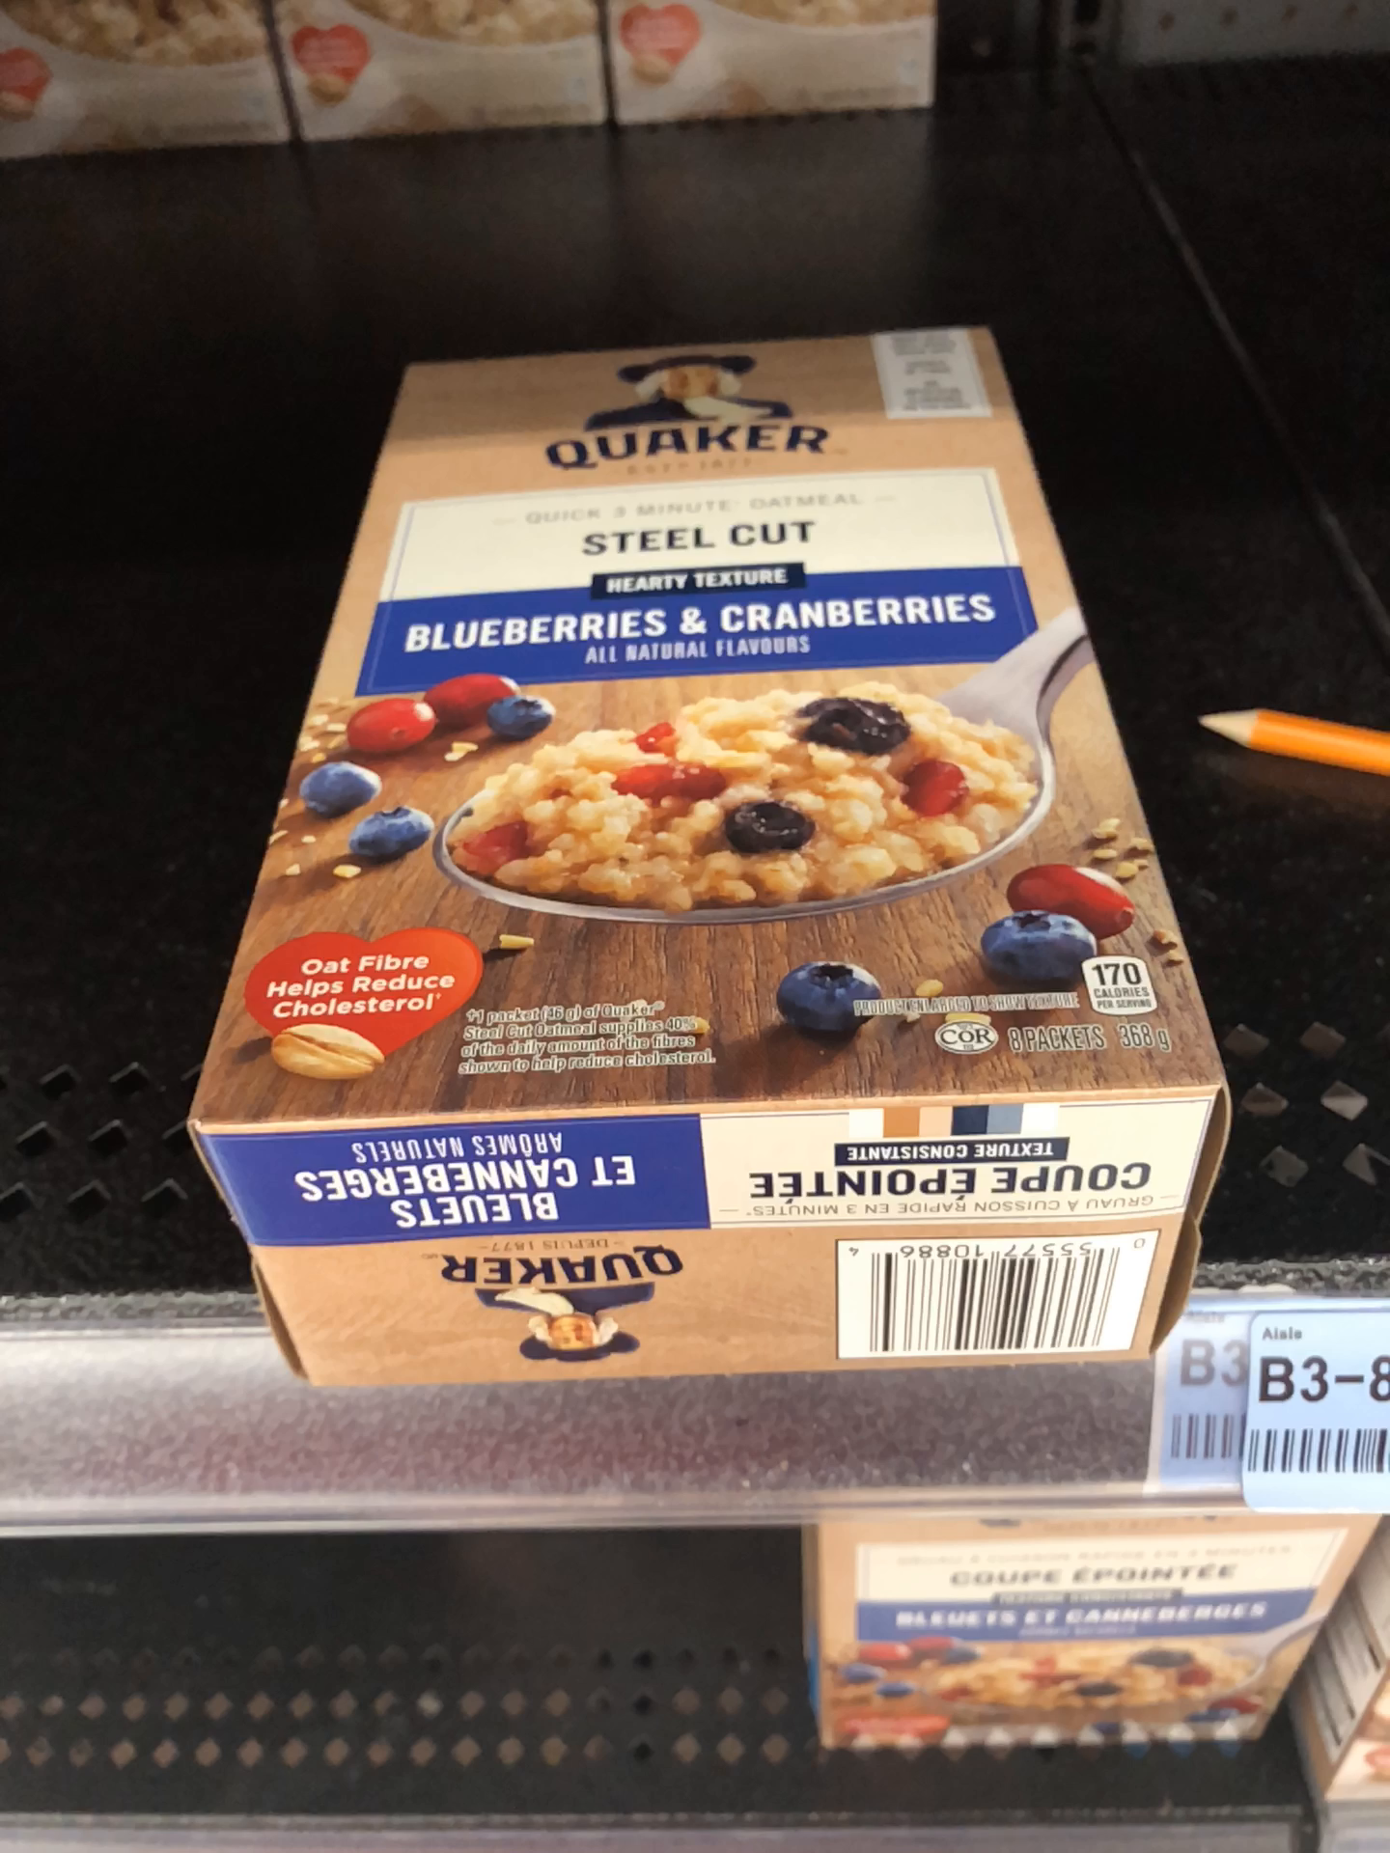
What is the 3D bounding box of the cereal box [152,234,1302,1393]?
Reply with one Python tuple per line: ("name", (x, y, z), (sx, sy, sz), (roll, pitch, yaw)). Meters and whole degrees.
("cereal box", (0.005, -0.043, 0.284), (0.130, 0.060, 0.241), (-3, 45, 3))
